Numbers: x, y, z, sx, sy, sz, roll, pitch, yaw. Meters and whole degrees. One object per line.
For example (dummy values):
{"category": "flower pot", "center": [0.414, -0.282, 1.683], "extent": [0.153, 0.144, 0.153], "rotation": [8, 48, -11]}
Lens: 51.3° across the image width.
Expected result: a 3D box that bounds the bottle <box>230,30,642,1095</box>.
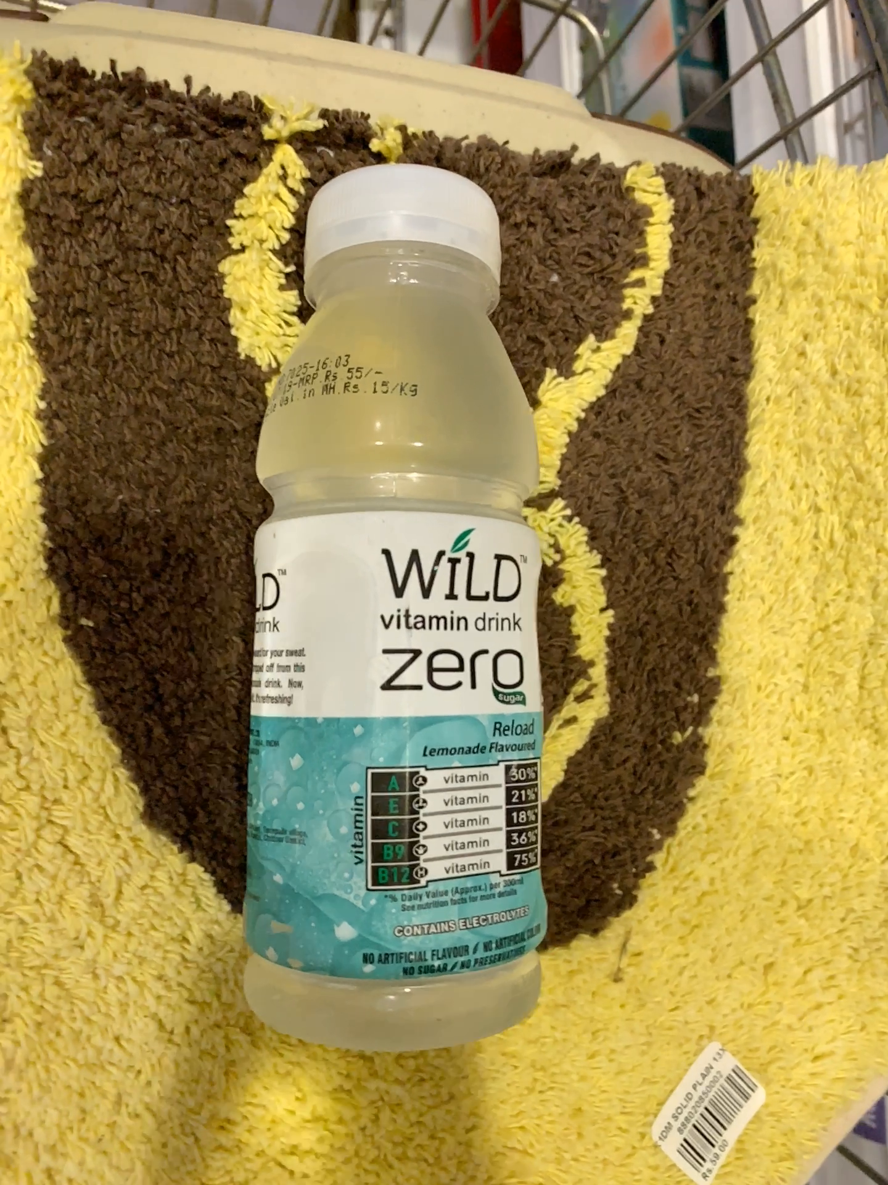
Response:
{"category": "bottle", "center": [-0.004, -0.007, 0.167], "extent": [0.060, 0.040, 0.160], "rotation": [2, 83, -20]}
